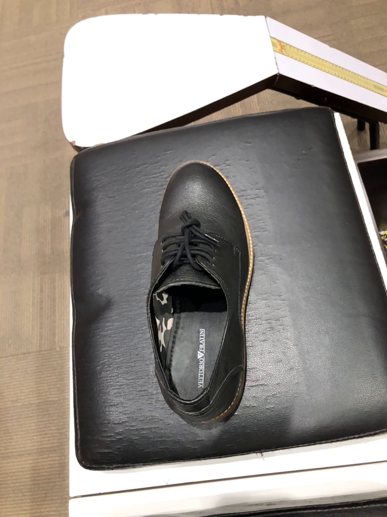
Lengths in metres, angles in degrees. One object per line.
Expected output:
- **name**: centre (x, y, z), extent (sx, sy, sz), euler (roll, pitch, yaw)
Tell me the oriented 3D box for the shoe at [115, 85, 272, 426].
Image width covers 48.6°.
- **shoe**: centre (0.000, -0.004, 0.398), extent (0.110, 0.100, 0.291), euler (-6, 67, 8)
